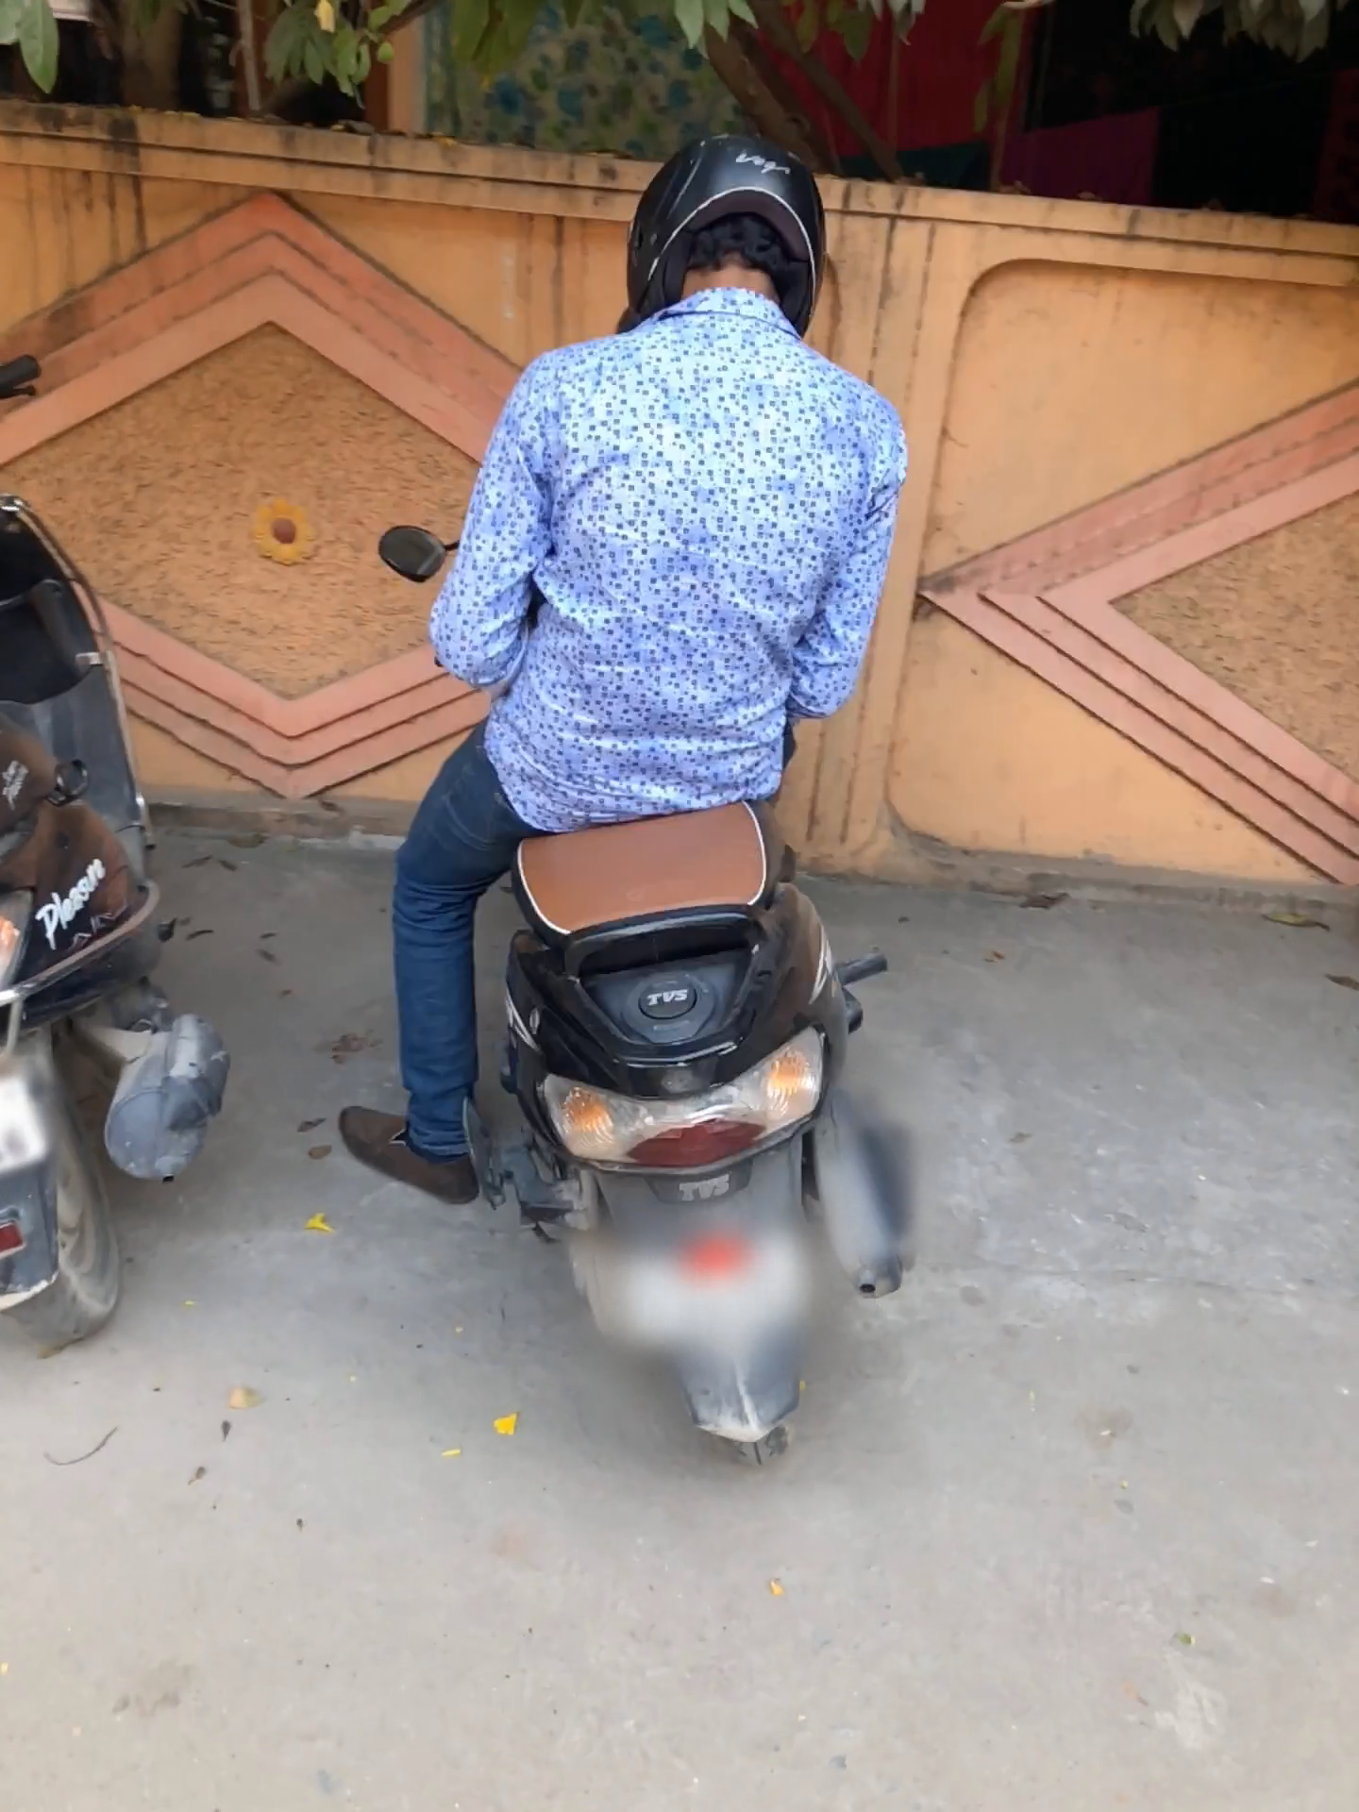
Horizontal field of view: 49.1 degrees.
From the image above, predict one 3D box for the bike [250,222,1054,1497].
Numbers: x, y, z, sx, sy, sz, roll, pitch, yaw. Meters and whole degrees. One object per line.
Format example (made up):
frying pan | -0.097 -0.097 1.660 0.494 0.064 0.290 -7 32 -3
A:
bike | -0.198 -0.181 2.036 0.628 1.038 1.326 -3 33 -16
